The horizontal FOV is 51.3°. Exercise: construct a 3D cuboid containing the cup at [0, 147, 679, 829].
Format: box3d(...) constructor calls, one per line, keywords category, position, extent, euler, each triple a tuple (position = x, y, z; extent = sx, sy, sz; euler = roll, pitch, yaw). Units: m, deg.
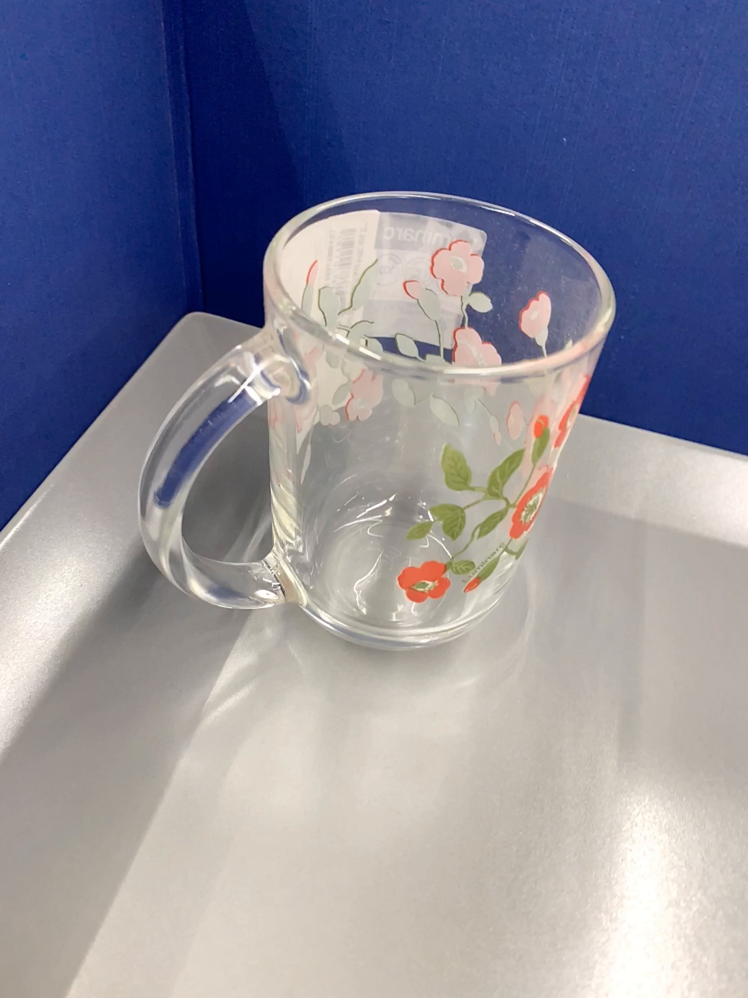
box3d(category="cup", position=(-0.013, -0.010, 0.192), extent=(0.115, 0.104, 0.088), euler=(-25, 52, -30))
